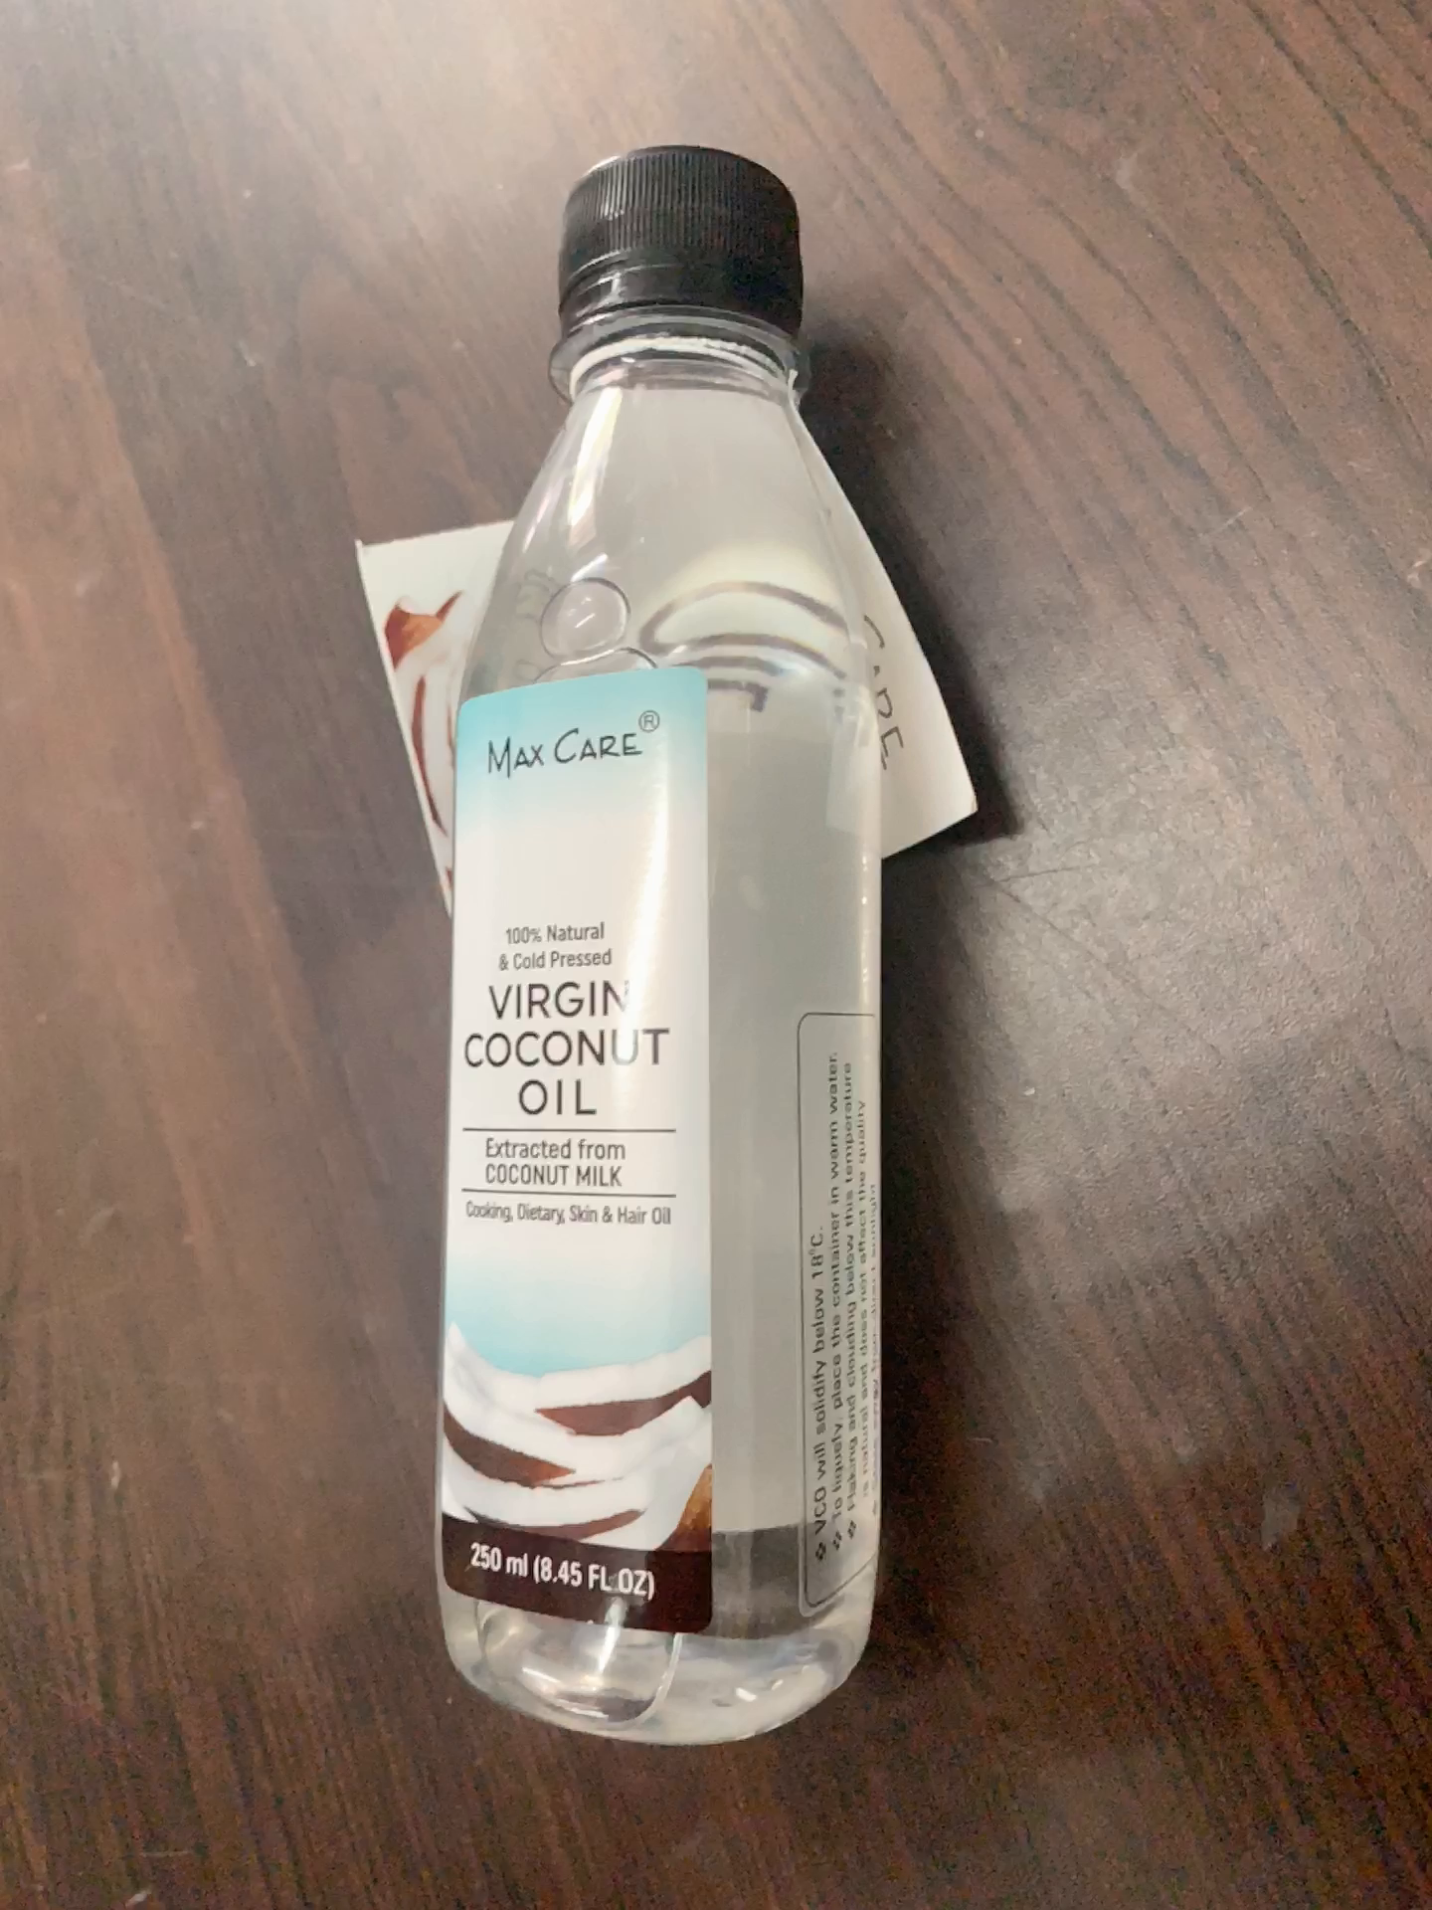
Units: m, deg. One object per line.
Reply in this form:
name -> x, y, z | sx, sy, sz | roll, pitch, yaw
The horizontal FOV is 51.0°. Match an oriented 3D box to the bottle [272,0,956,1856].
bottle -> -0.007, -0.007, 0.167 | 0.050, 0.050, 0.170 | -1, 83, 27
